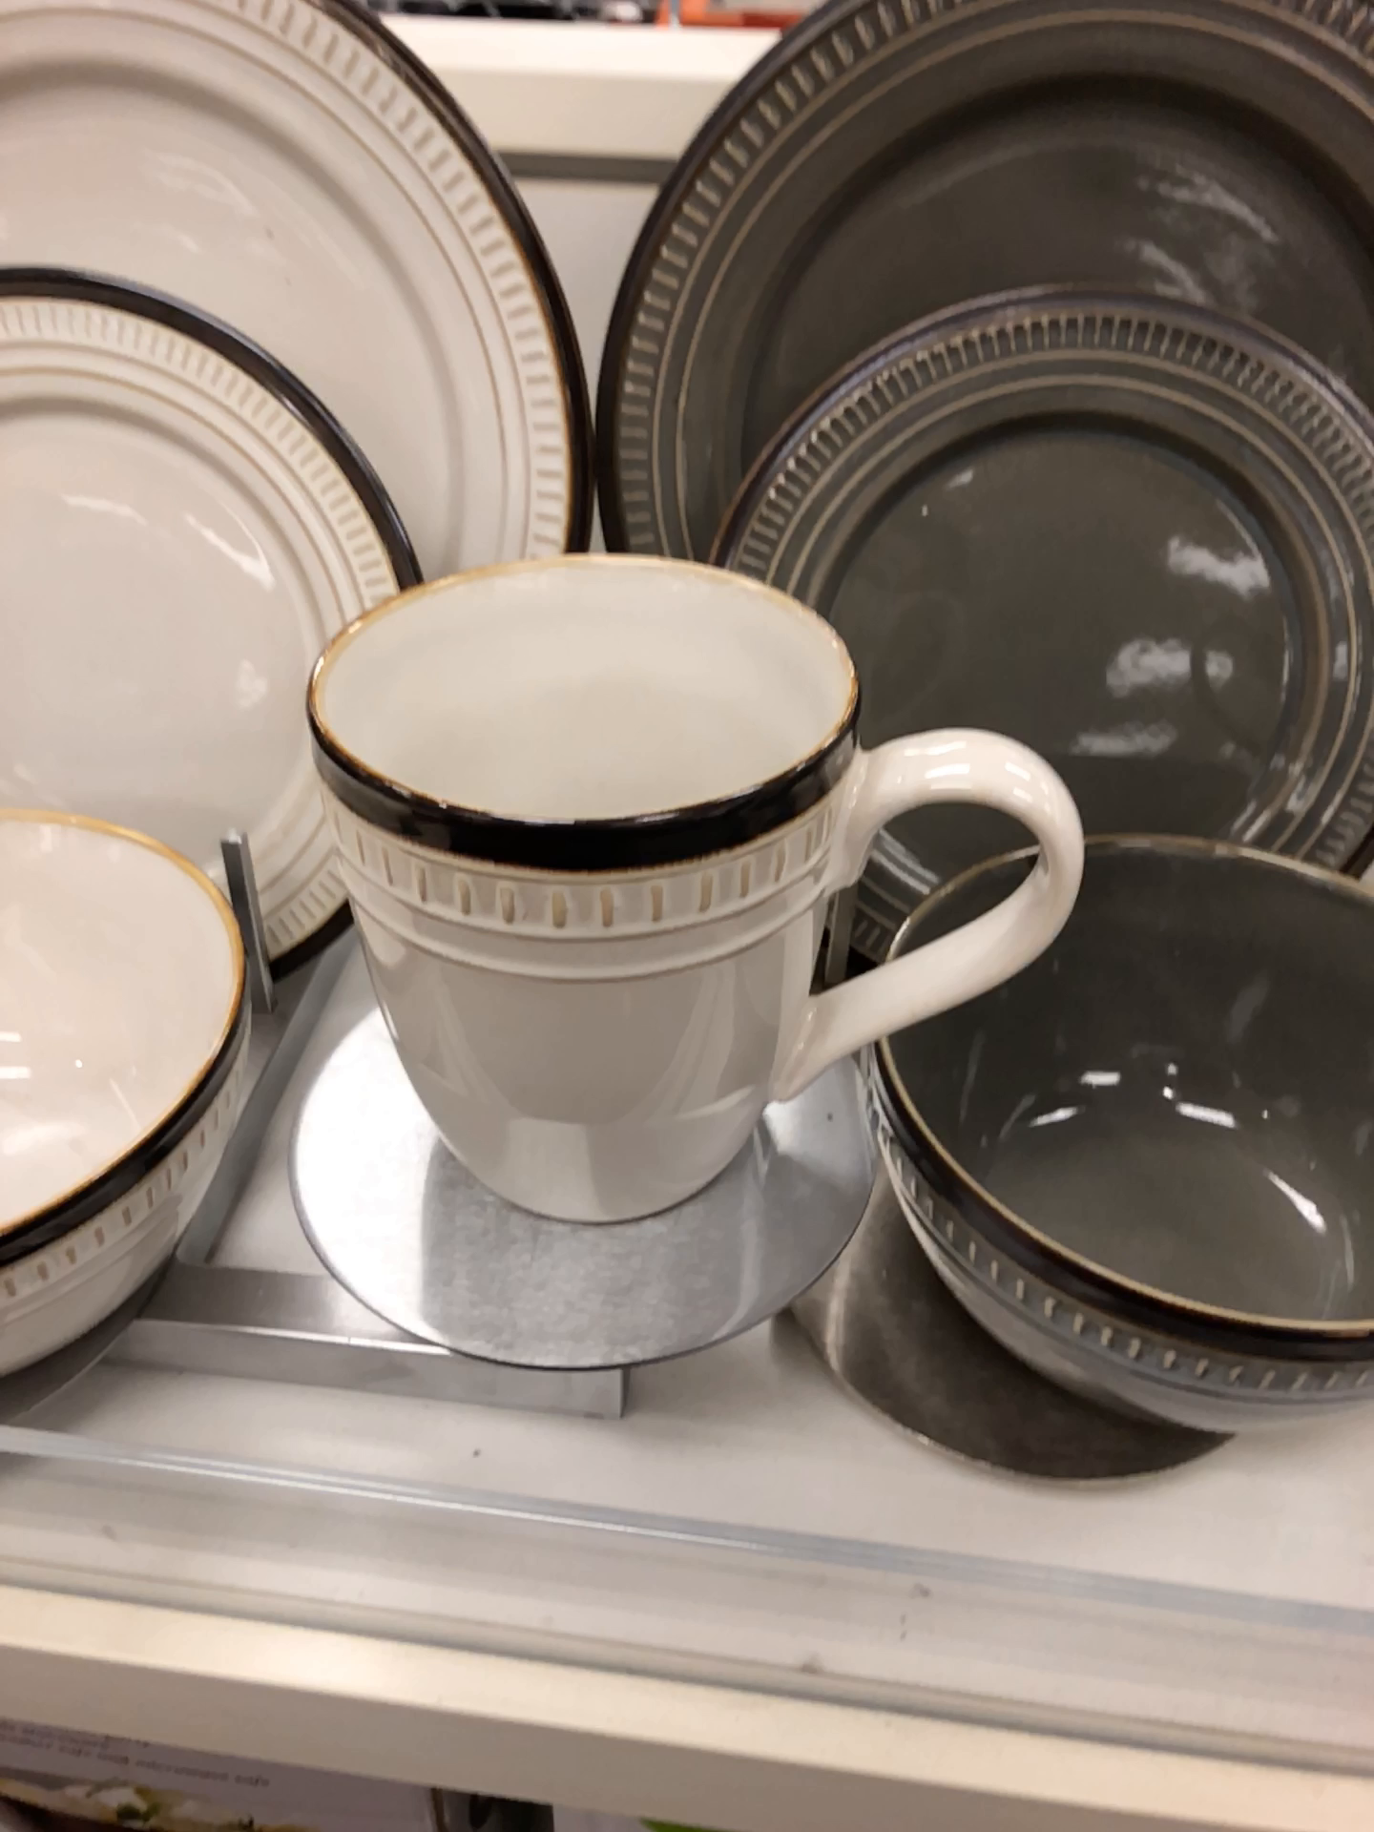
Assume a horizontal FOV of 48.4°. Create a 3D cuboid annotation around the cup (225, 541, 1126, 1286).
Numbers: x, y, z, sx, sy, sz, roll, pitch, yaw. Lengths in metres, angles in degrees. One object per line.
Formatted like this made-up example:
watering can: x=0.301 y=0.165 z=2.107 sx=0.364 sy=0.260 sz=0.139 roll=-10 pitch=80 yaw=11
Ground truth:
cup: x=-0.001 y=-0.002 z=0.283 sx=0.128 sy=0.097 sz=0.092 roll=2 pitch=38 yaw=1
